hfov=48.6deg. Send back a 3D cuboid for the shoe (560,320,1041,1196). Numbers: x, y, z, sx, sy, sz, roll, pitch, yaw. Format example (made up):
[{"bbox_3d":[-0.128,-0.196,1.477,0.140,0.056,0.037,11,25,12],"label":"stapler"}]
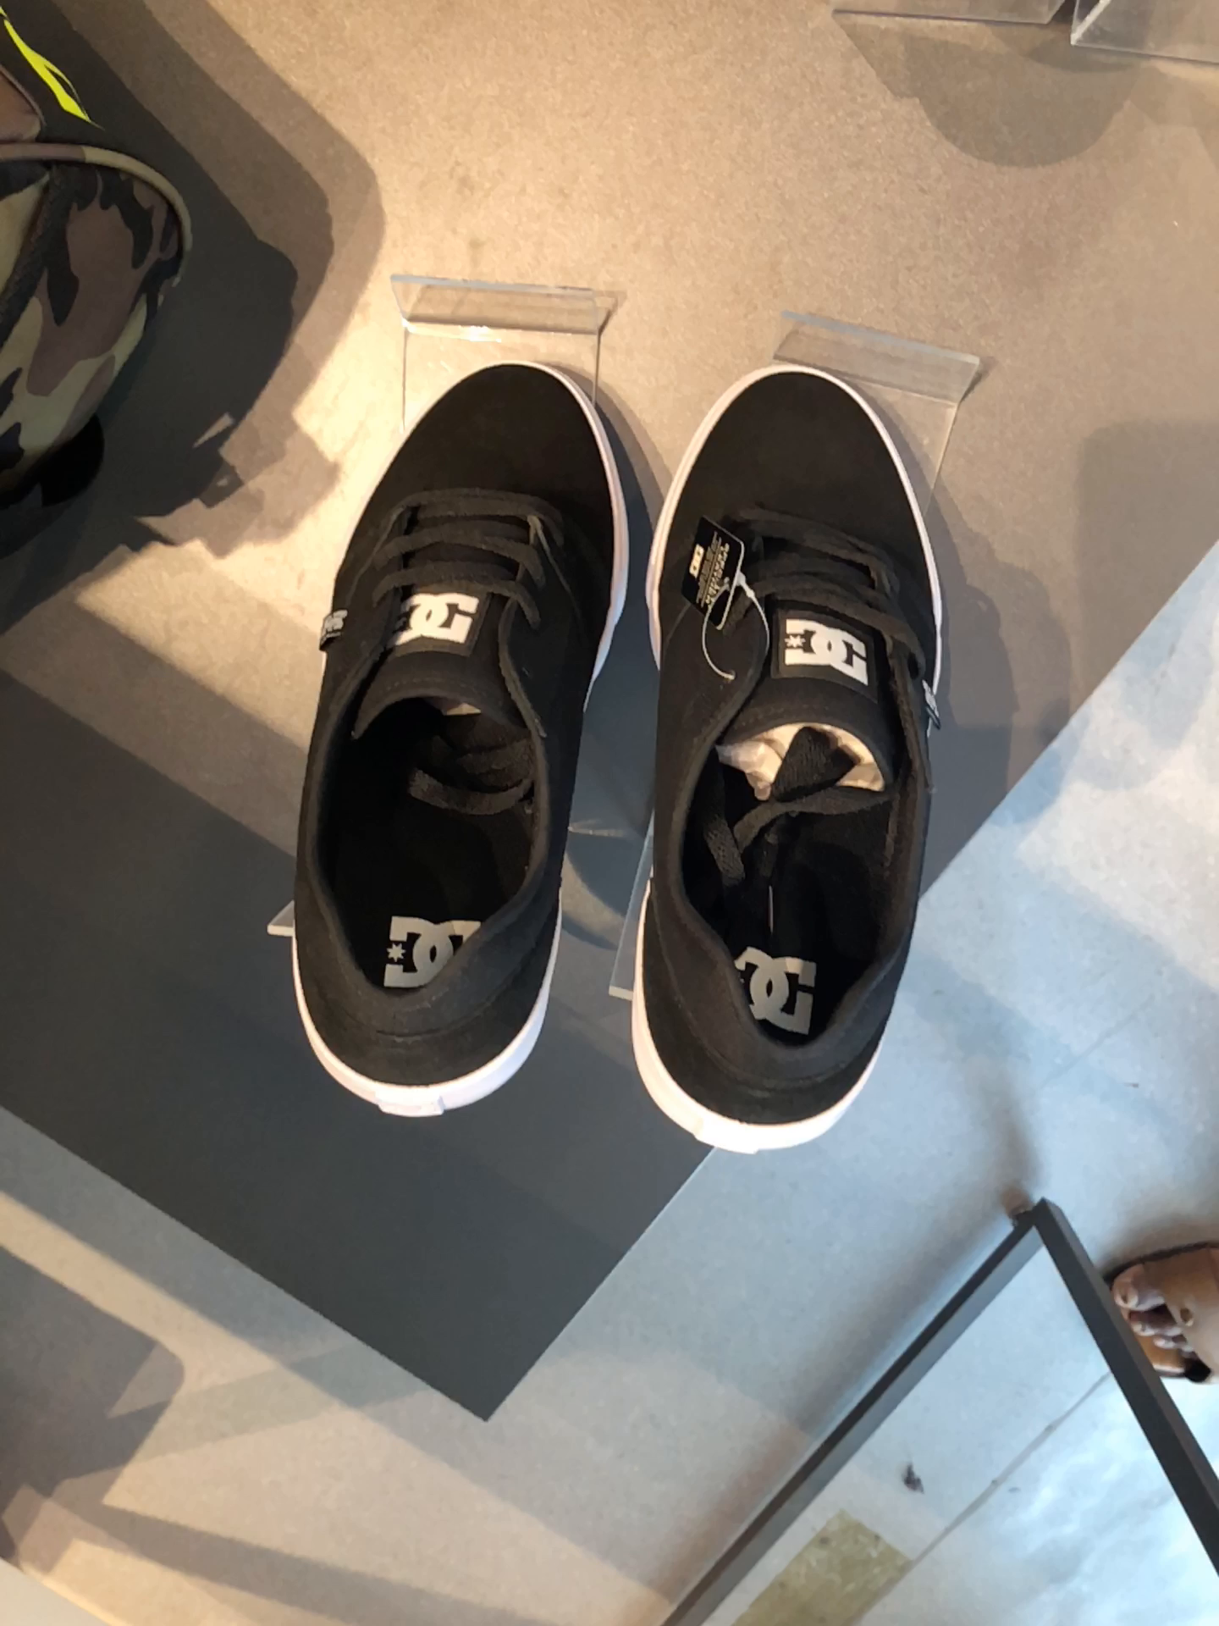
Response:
[{"bbox_3d":[0.057,-0.013,0.410,0.106,0.107,0.229,9,69,-1],"label":"shoe"}]

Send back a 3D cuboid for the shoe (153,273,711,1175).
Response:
[{"bbox_3d":[-0.039,-0.023,0.396,0.106,0.107,0.229,7,69,0],"label":"shoe"}]
